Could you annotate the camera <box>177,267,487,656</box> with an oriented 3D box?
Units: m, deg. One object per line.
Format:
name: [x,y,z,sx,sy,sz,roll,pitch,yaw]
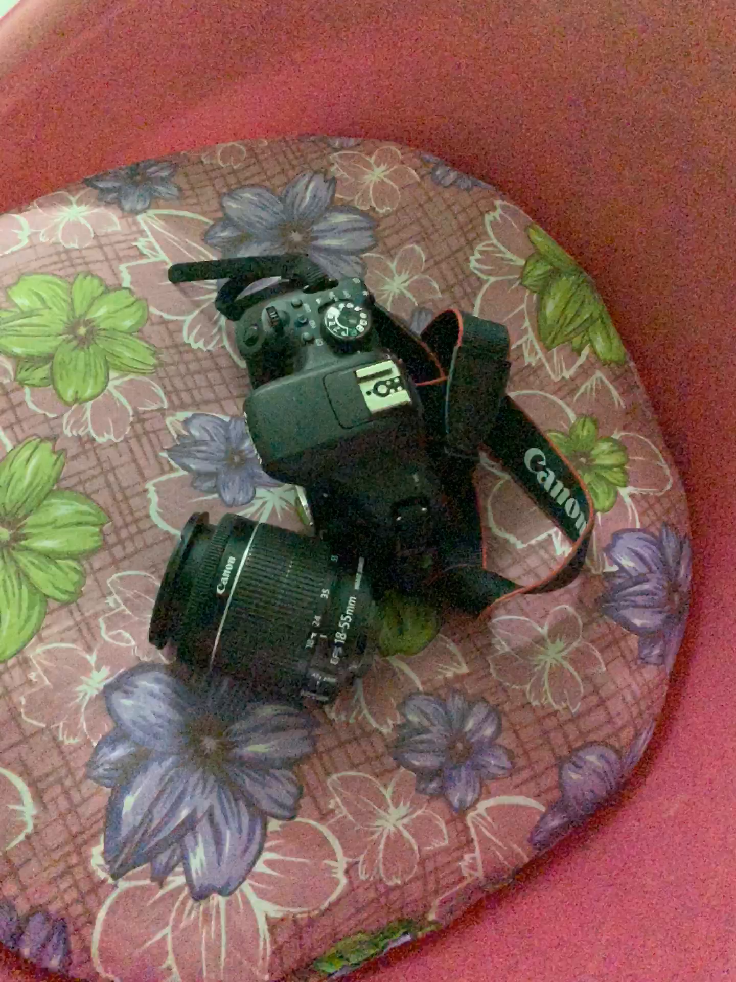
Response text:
camera: [-0.020,-0.013,0.353,0.086,0.078,0.143,-19,68,-10]
